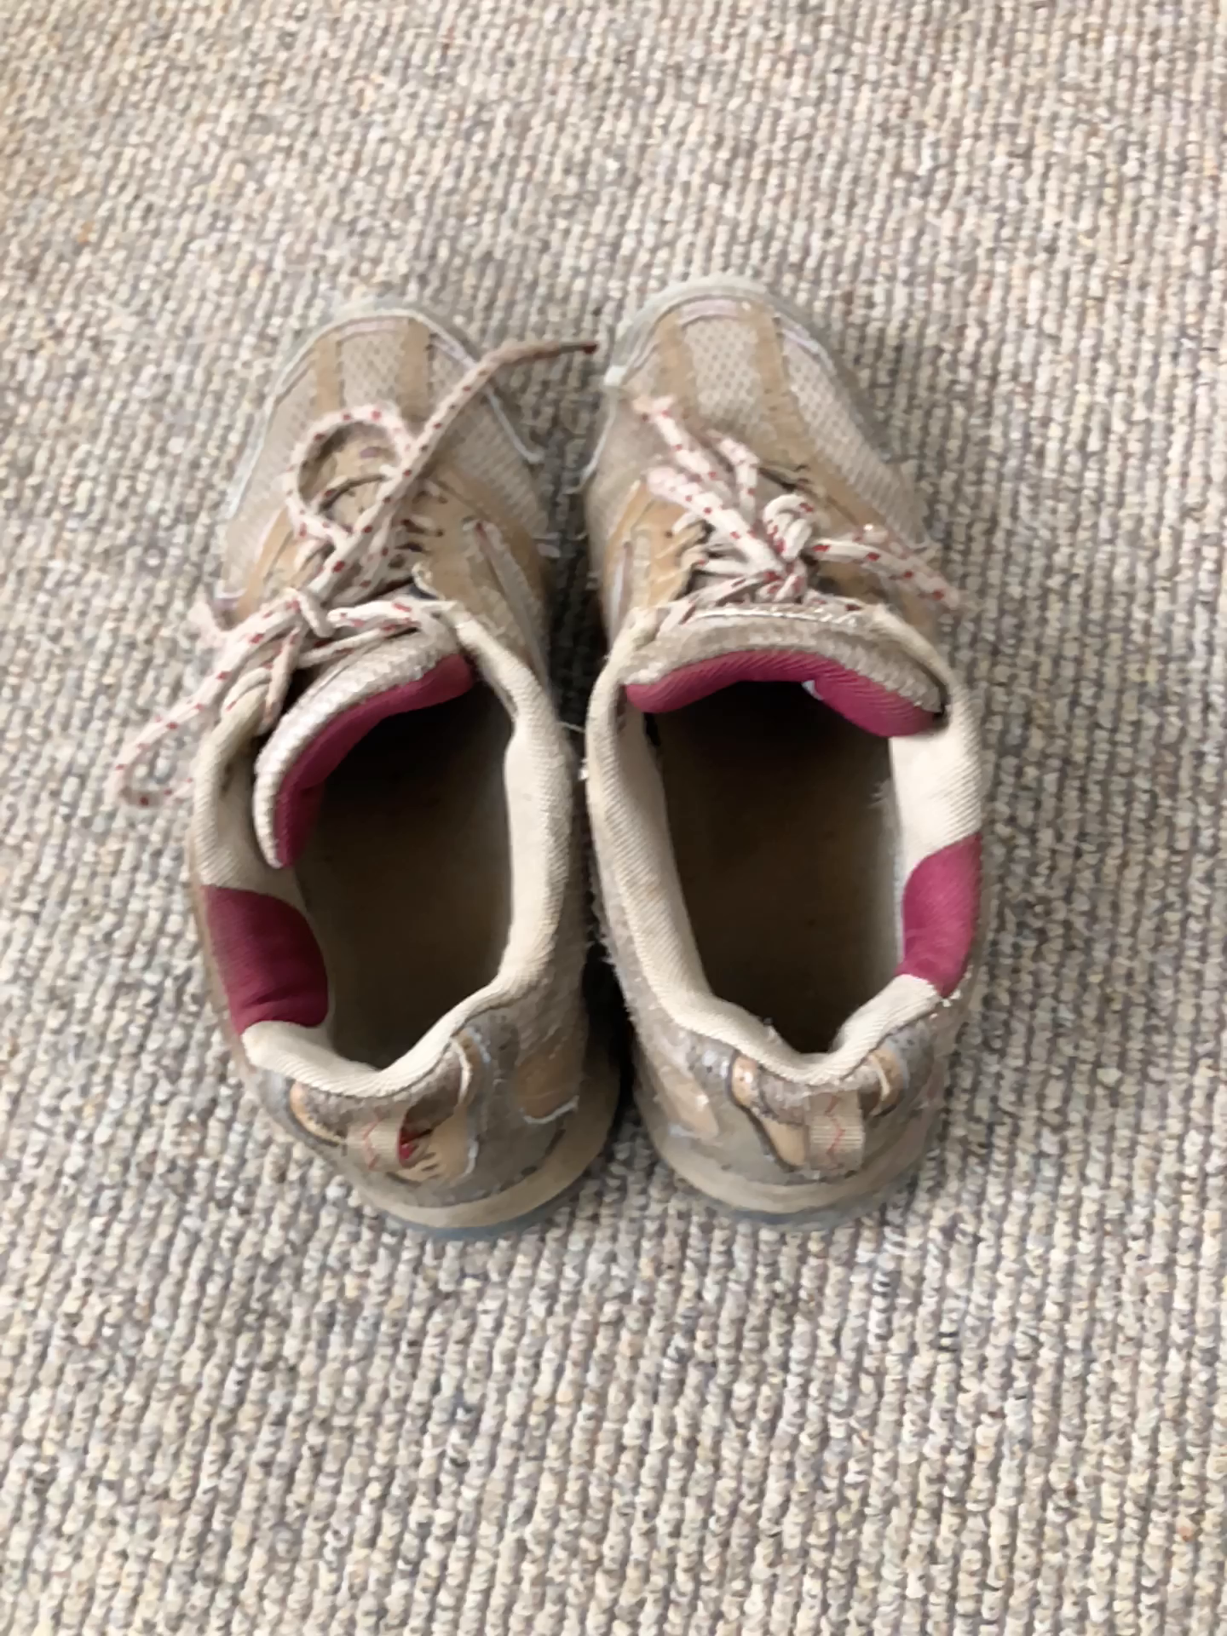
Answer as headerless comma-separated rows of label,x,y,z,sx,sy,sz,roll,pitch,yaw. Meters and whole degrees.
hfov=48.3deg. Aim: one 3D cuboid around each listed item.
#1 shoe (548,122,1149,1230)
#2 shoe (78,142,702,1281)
shoe,0.047,-0.032,0.377,0.112,0.124,0.272,-3,72,1
shoe,-0.059,-0.025,0.375,0.110,0.119,0.270,-11,72,-1
